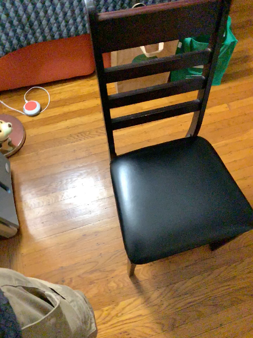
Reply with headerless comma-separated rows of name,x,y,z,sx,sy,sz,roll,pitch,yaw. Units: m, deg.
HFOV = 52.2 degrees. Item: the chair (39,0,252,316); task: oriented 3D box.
chair,0.152,0.019,0.800,0.490,0.868,0.551,-16,67,-8
